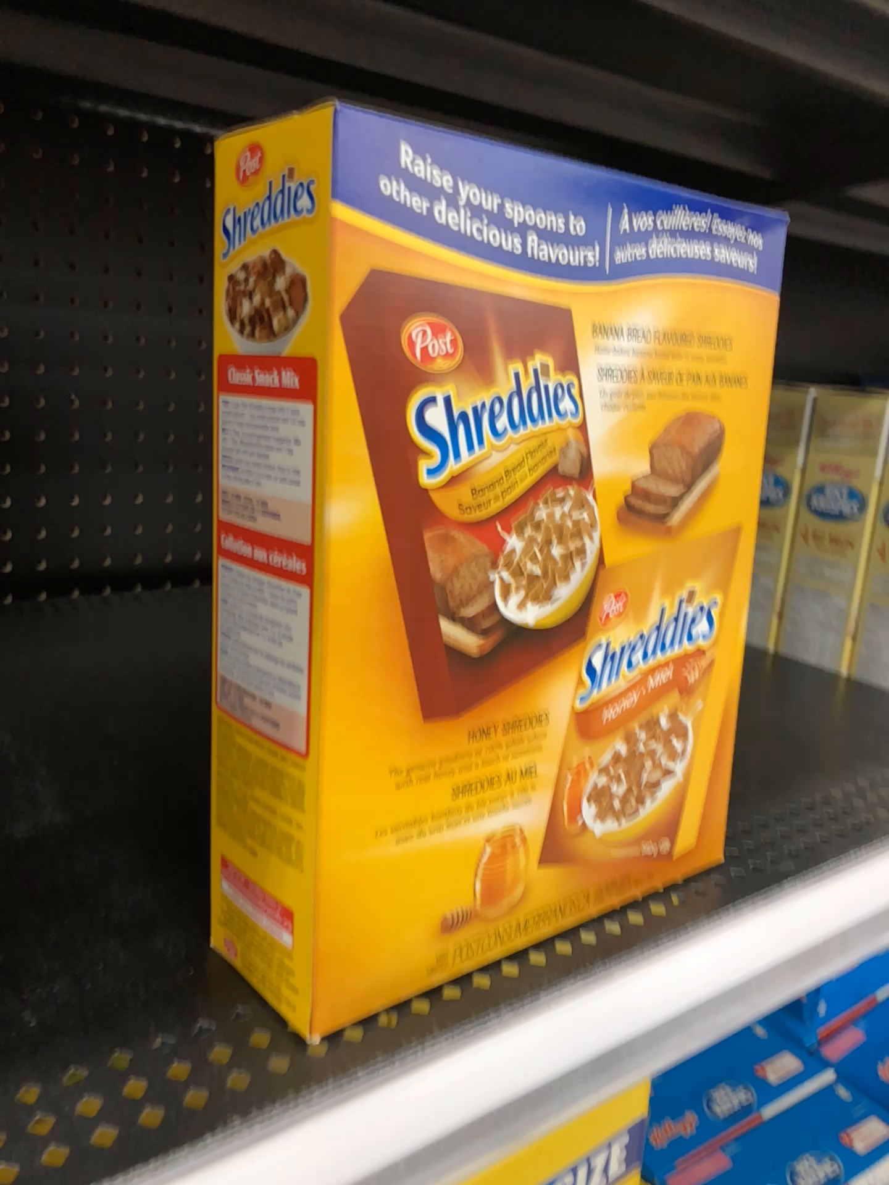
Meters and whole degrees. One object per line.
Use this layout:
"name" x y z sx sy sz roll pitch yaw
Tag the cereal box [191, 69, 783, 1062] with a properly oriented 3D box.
"cereal box" 0.021 -0.010 0.353 0.210 0.269 0.060 -7 14 -39
